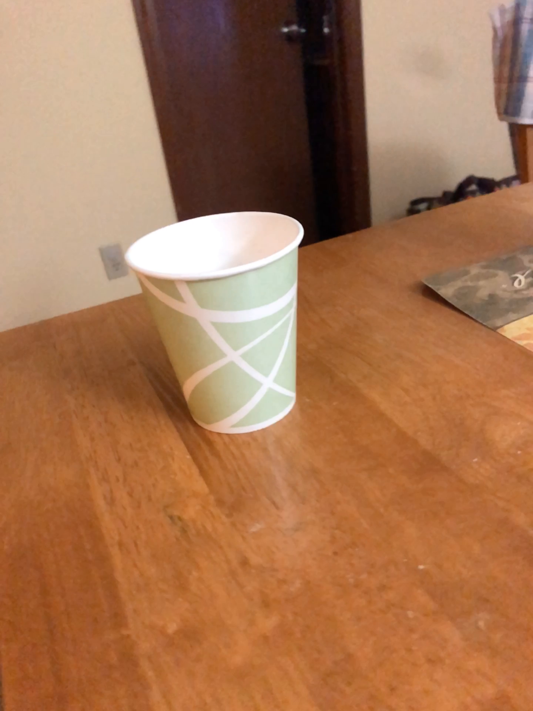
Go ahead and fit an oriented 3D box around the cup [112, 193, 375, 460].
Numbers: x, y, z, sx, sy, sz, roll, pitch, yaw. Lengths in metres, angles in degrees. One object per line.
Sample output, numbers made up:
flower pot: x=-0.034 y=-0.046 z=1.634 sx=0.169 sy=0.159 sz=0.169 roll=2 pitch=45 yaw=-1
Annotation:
cup: x=-0.012 y=-0.022 z=0.313 sx=0.100 sy=0.090 sz=0.090 roll=-19 pitch=30 yaw=-18
